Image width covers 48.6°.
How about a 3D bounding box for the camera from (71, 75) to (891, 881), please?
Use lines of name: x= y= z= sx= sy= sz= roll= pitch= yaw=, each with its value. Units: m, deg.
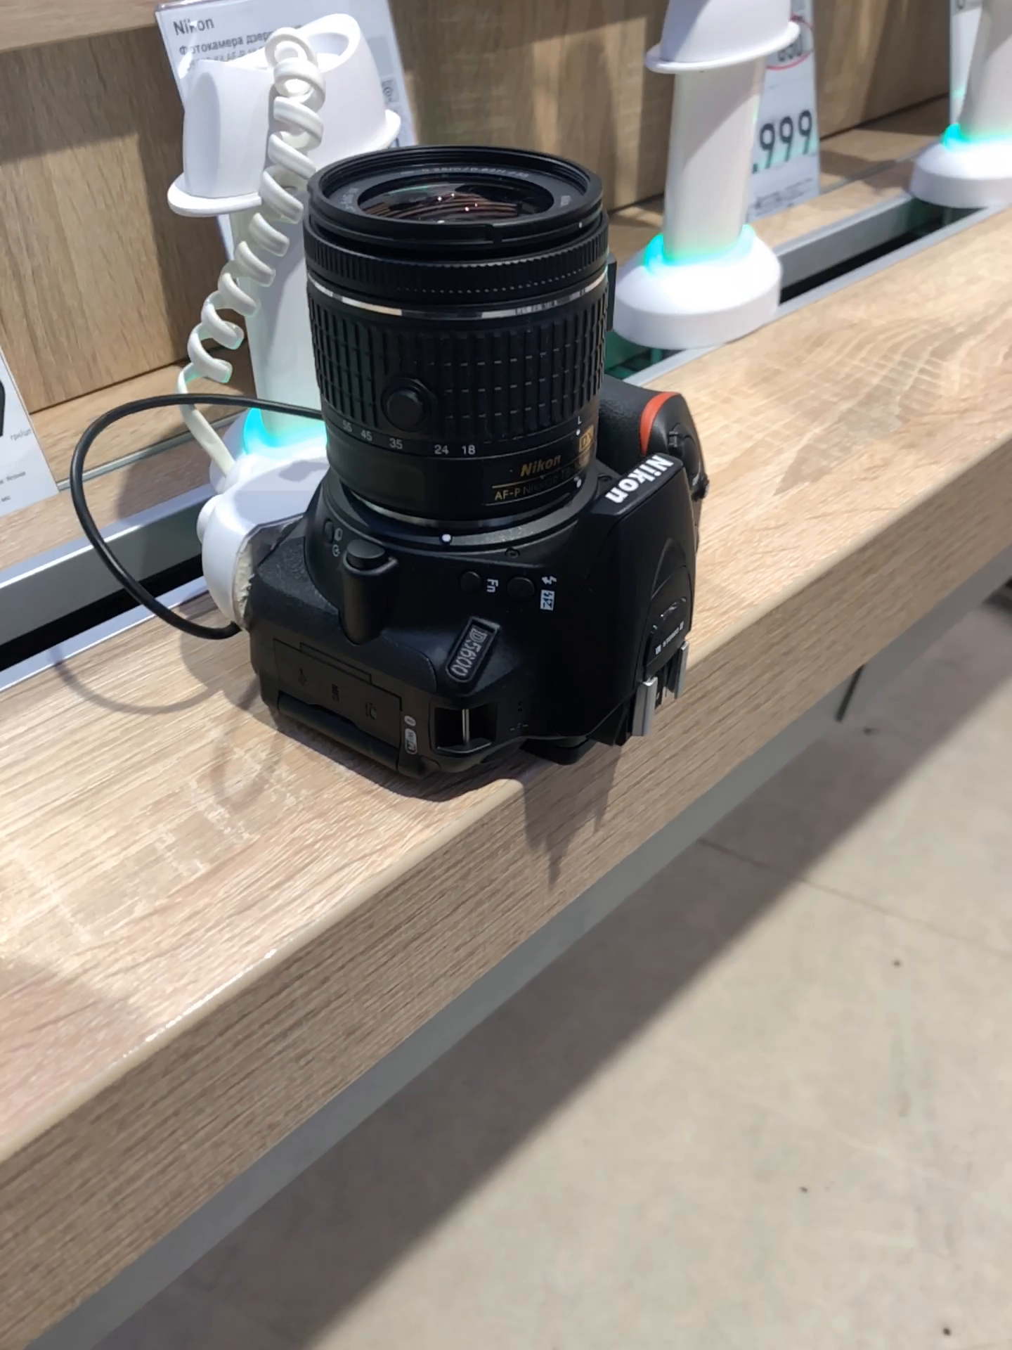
camera: x=0.002 y=-0.057 z=0.268 sx=0.115 sy=0.117 sz=0.132 roll=22 pitch=45 yaw=24
